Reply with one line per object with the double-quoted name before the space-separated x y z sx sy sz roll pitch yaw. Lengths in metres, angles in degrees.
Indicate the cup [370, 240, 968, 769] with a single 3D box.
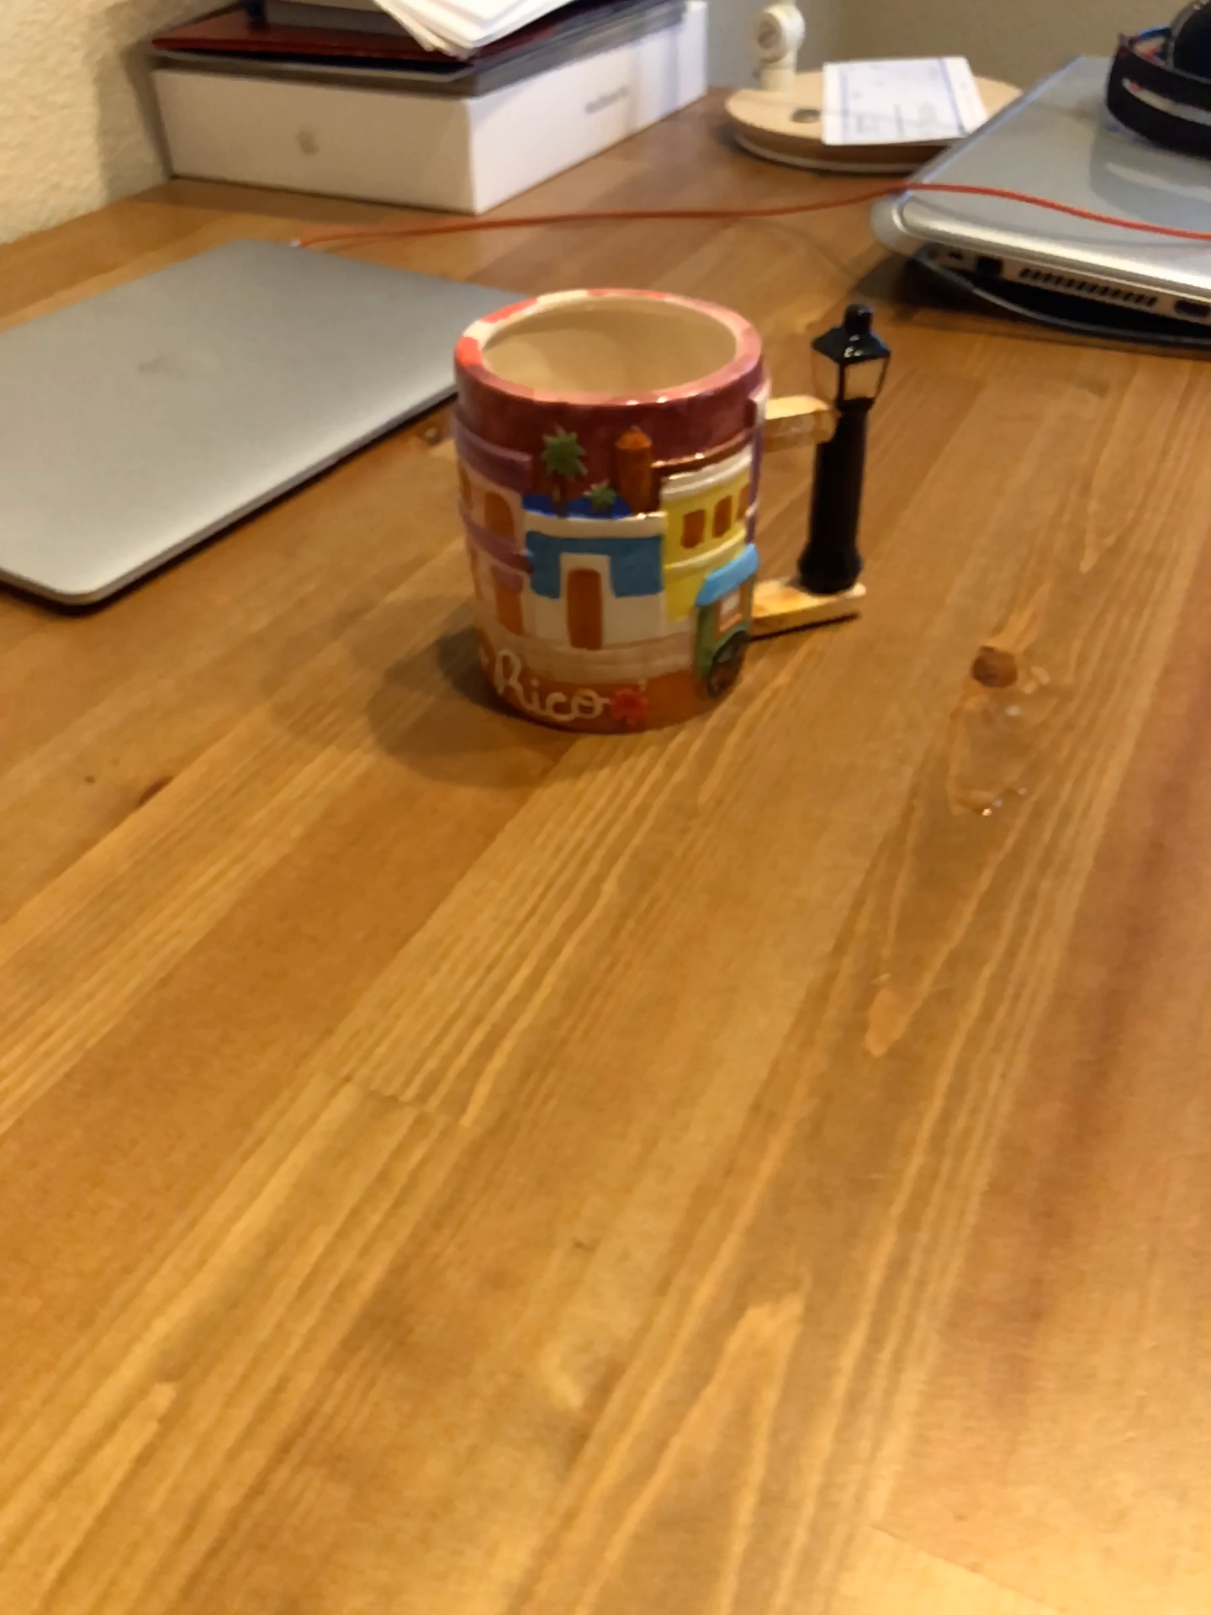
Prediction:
"cup" 0.017 -0.092 0.390 0.130 0.090 0.090 -23 43 -23
